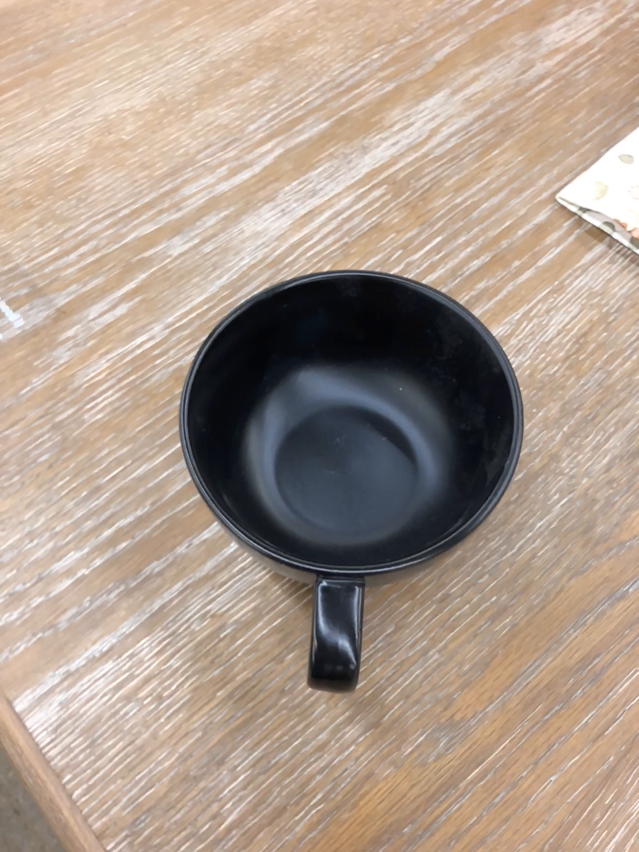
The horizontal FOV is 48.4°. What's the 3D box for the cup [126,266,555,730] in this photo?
[{"bbox_3d":[0.012,0.023,0.294,0.137,0.054,0.175,4,61,2],"label":"cup"}]
